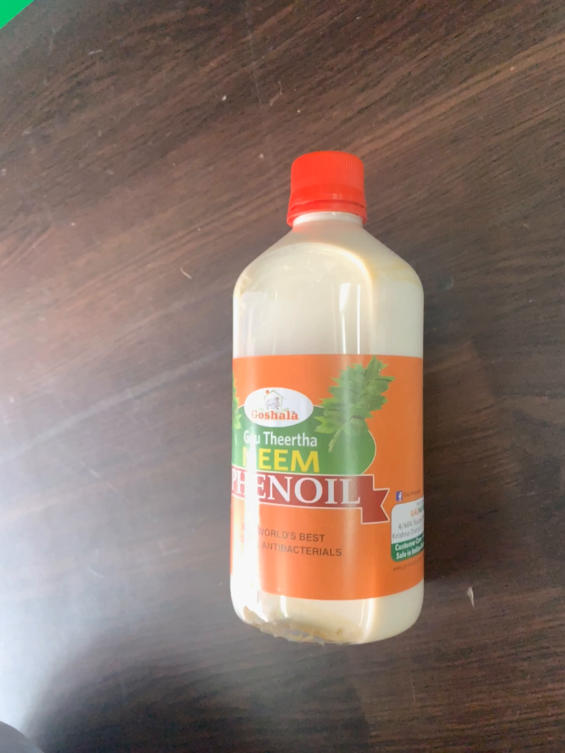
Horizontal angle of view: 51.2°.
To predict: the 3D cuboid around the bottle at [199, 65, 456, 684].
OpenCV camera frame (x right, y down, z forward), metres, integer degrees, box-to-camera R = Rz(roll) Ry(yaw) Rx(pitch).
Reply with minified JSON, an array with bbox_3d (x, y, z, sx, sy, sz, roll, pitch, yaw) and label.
[{"bbox_3d":[0.021,0.000,0.229,0.080,0.070,0.190,0,90,25],"label":"bottle"}]
